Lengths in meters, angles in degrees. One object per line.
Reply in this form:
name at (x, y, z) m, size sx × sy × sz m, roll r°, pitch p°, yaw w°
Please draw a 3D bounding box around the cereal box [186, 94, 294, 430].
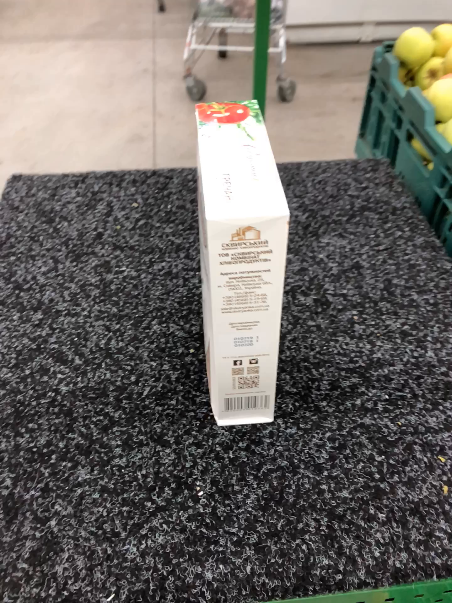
cereal box at (0.006, -0.025, 0.429) m, size 0.060 × 0.238 × 0.161 m, roll -4°, pitch 45°, yaw -2°
